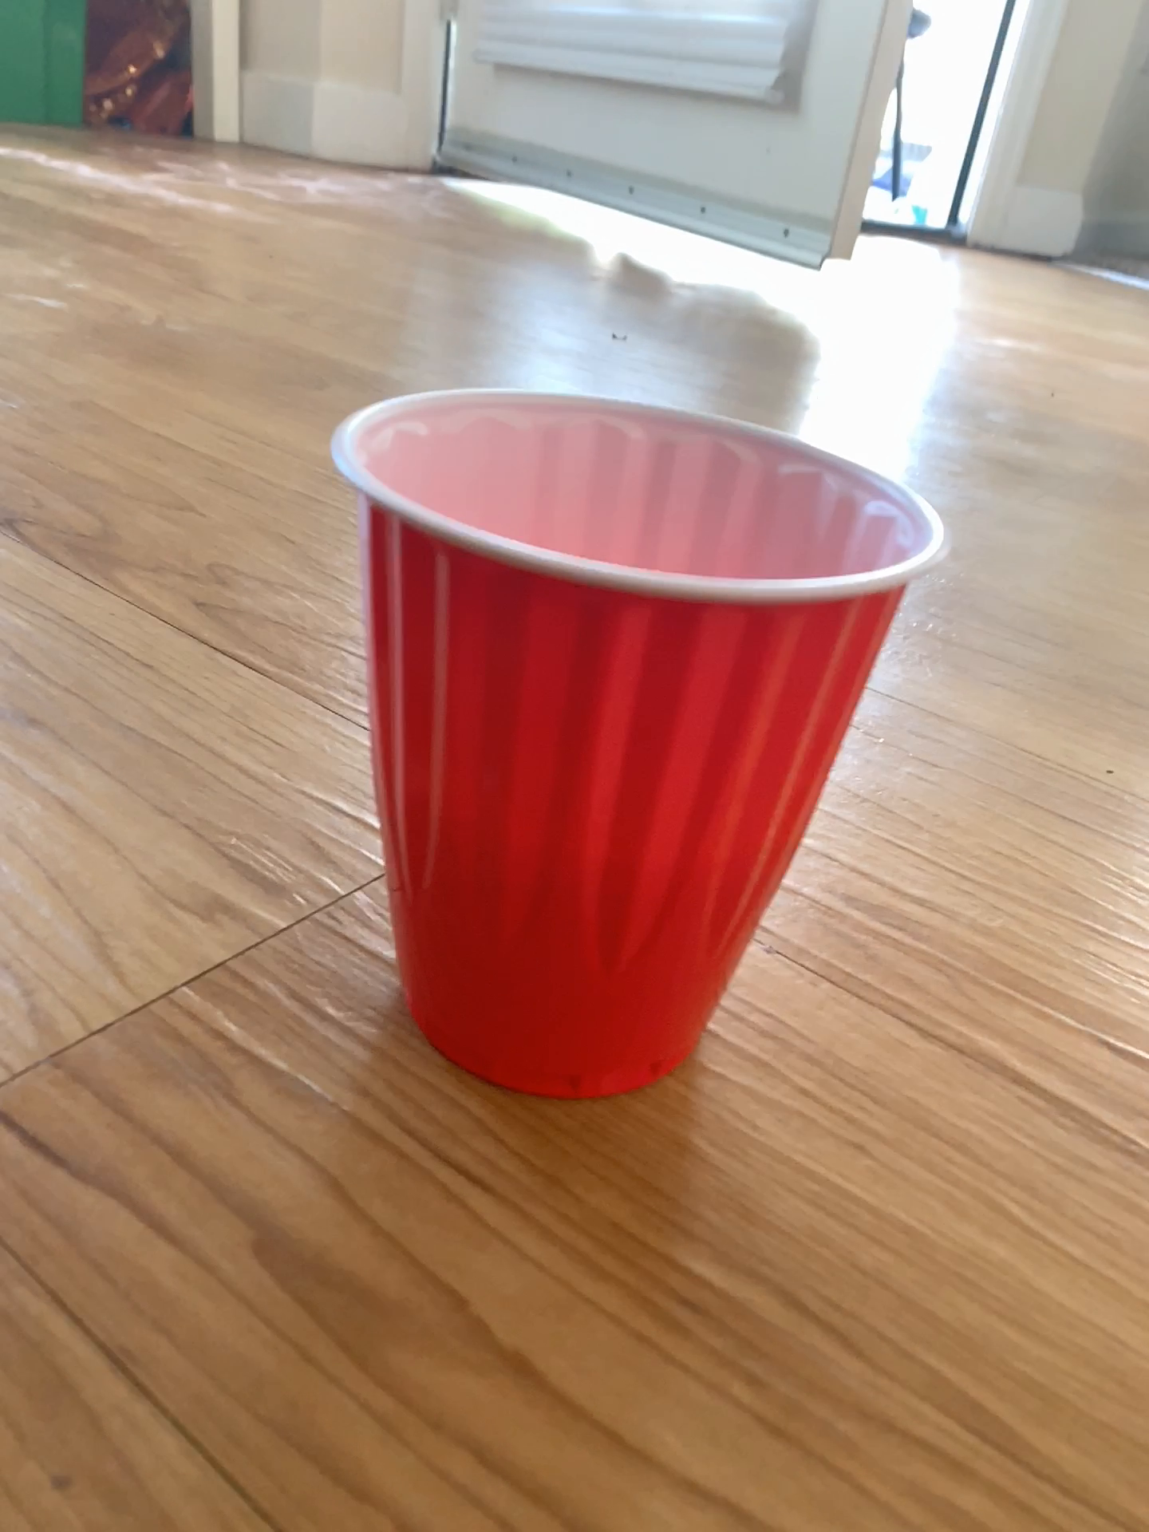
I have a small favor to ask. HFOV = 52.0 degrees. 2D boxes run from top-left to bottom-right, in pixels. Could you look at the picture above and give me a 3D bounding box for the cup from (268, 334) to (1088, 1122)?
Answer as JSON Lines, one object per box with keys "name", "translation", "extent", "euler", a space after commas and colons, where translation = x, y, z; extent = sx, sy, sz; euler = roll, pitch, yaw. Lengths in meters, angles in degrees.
{"name": "cup", "translation": [0.002, -0.014, 0.206], "extent": [0.100, 0.090, 0.100], "euler": [7, 29, -4]}
